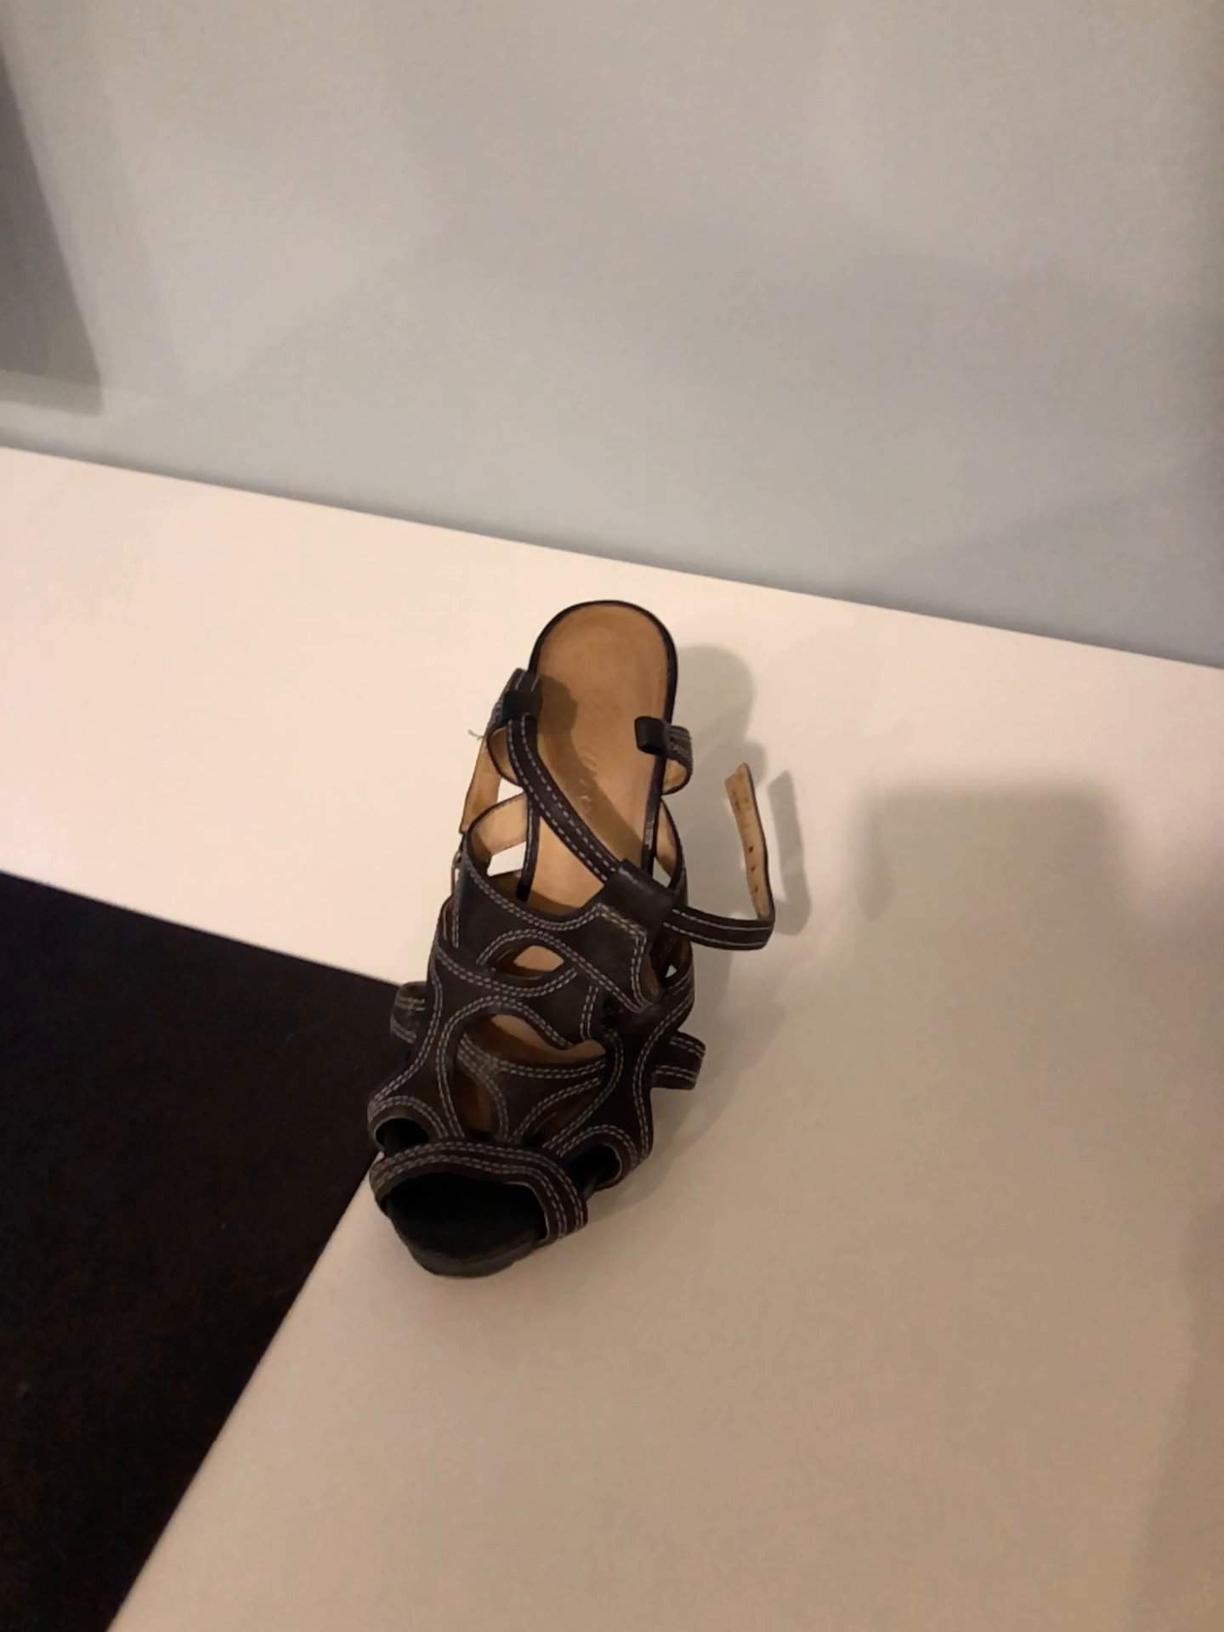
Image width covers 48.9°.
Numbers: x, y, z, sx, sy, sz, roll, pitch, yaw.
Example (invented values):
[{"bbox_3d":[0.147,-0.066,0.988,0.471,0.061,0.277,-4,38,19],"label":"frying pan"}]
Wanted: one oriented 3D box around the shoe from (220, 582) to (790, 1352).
[{"bbox_3d":[-0.017,0.034,0.437,0.100,0.099,0.222,11,45,13],"label":"shoe"}]
